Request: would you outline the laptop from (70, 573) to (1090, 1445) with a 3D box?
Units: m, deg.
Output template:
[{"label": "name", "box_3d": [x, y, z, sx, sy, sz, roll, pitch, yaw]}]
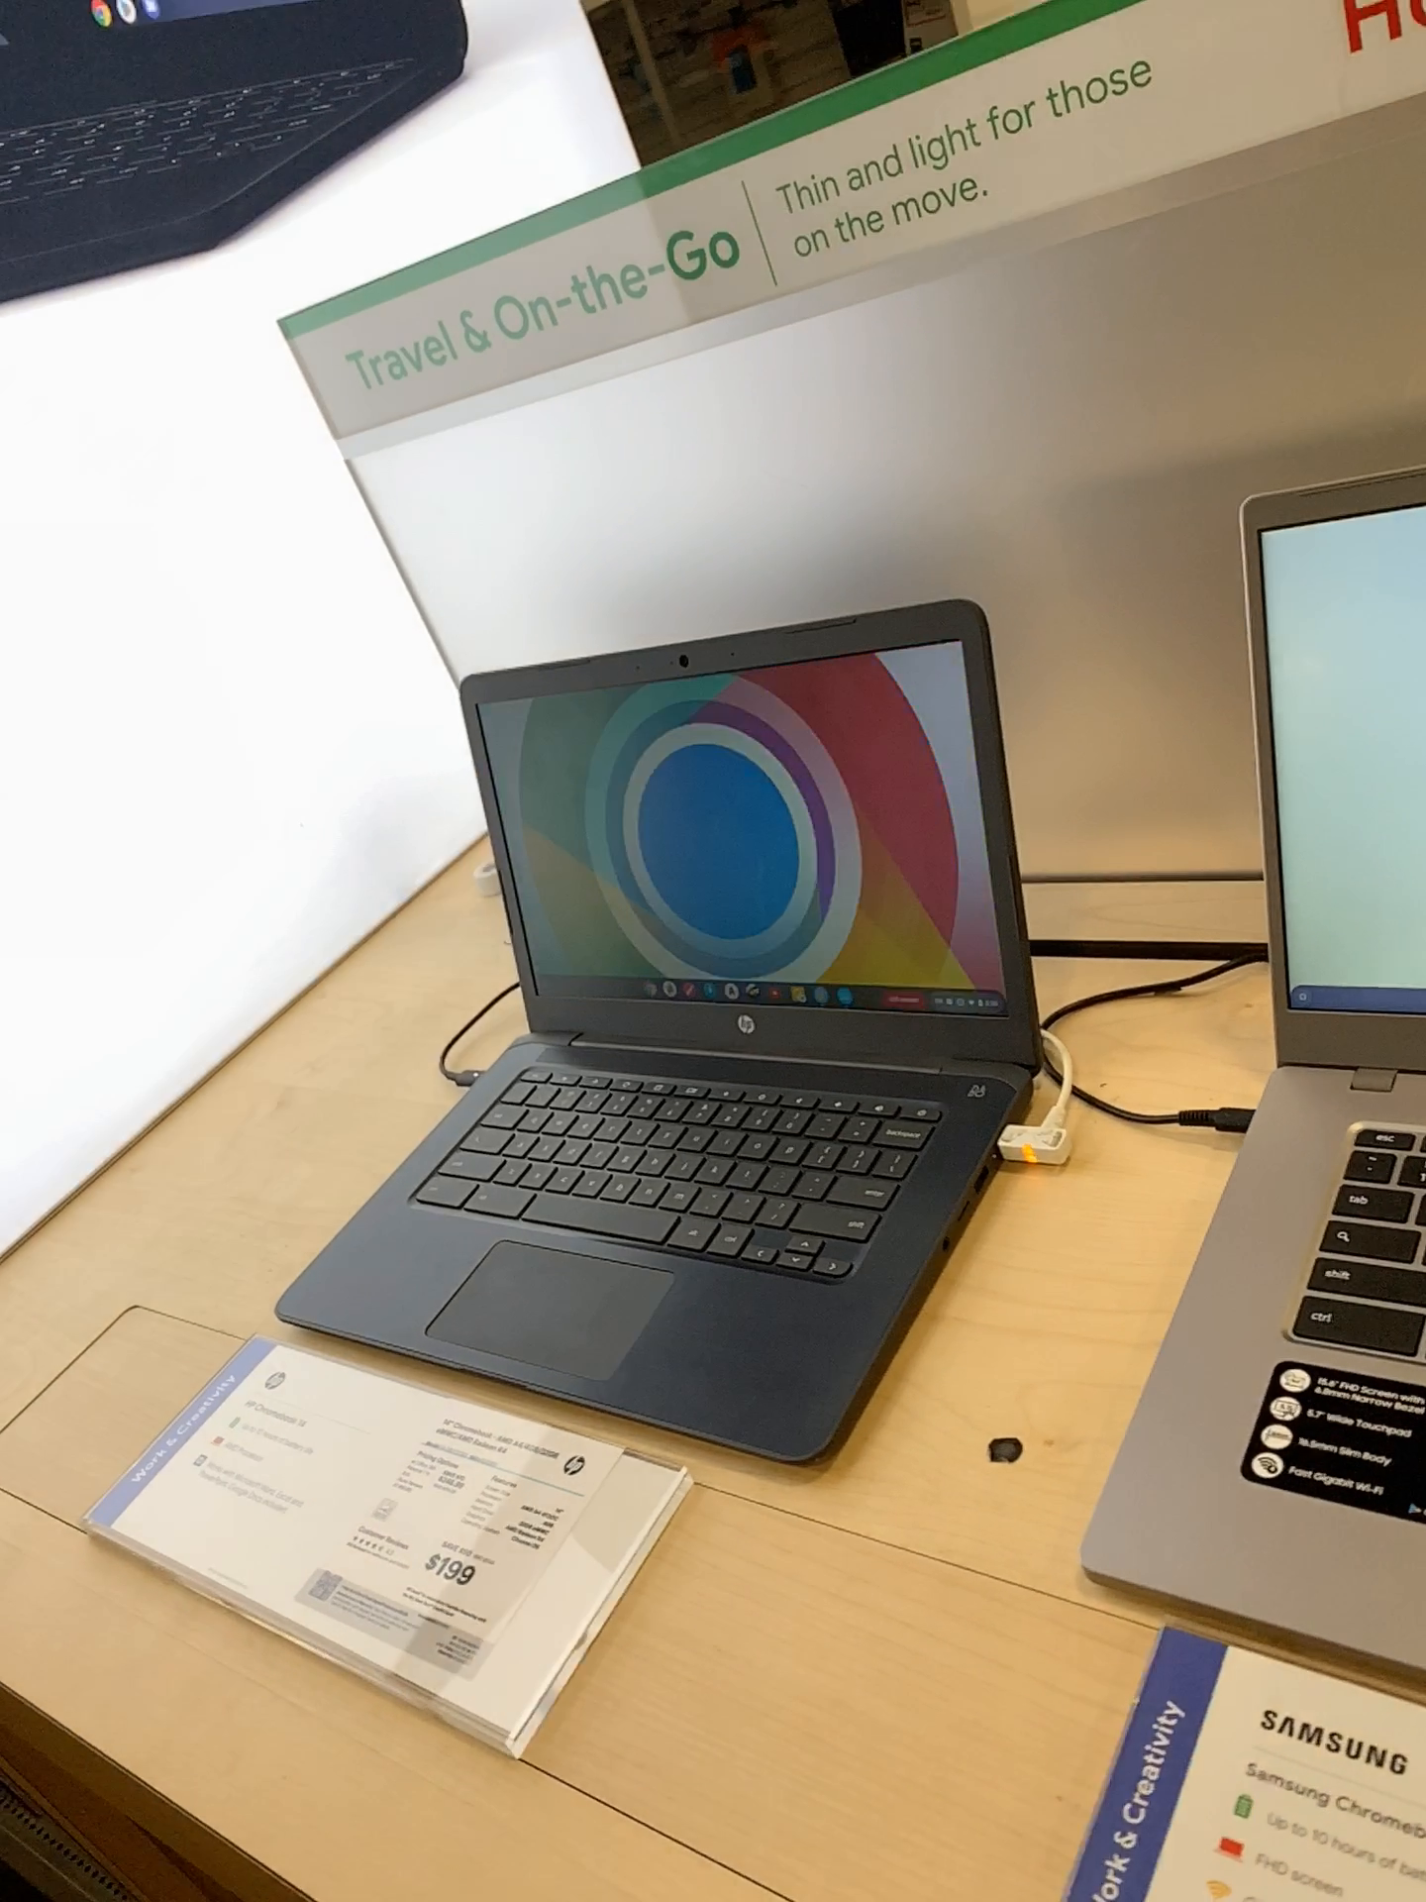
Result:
[{"label": "laptop", "box_3d": [-0.051, 0.010, 0.676, 0.320, 0.198, 0.292, 0, 36, 40]}]
